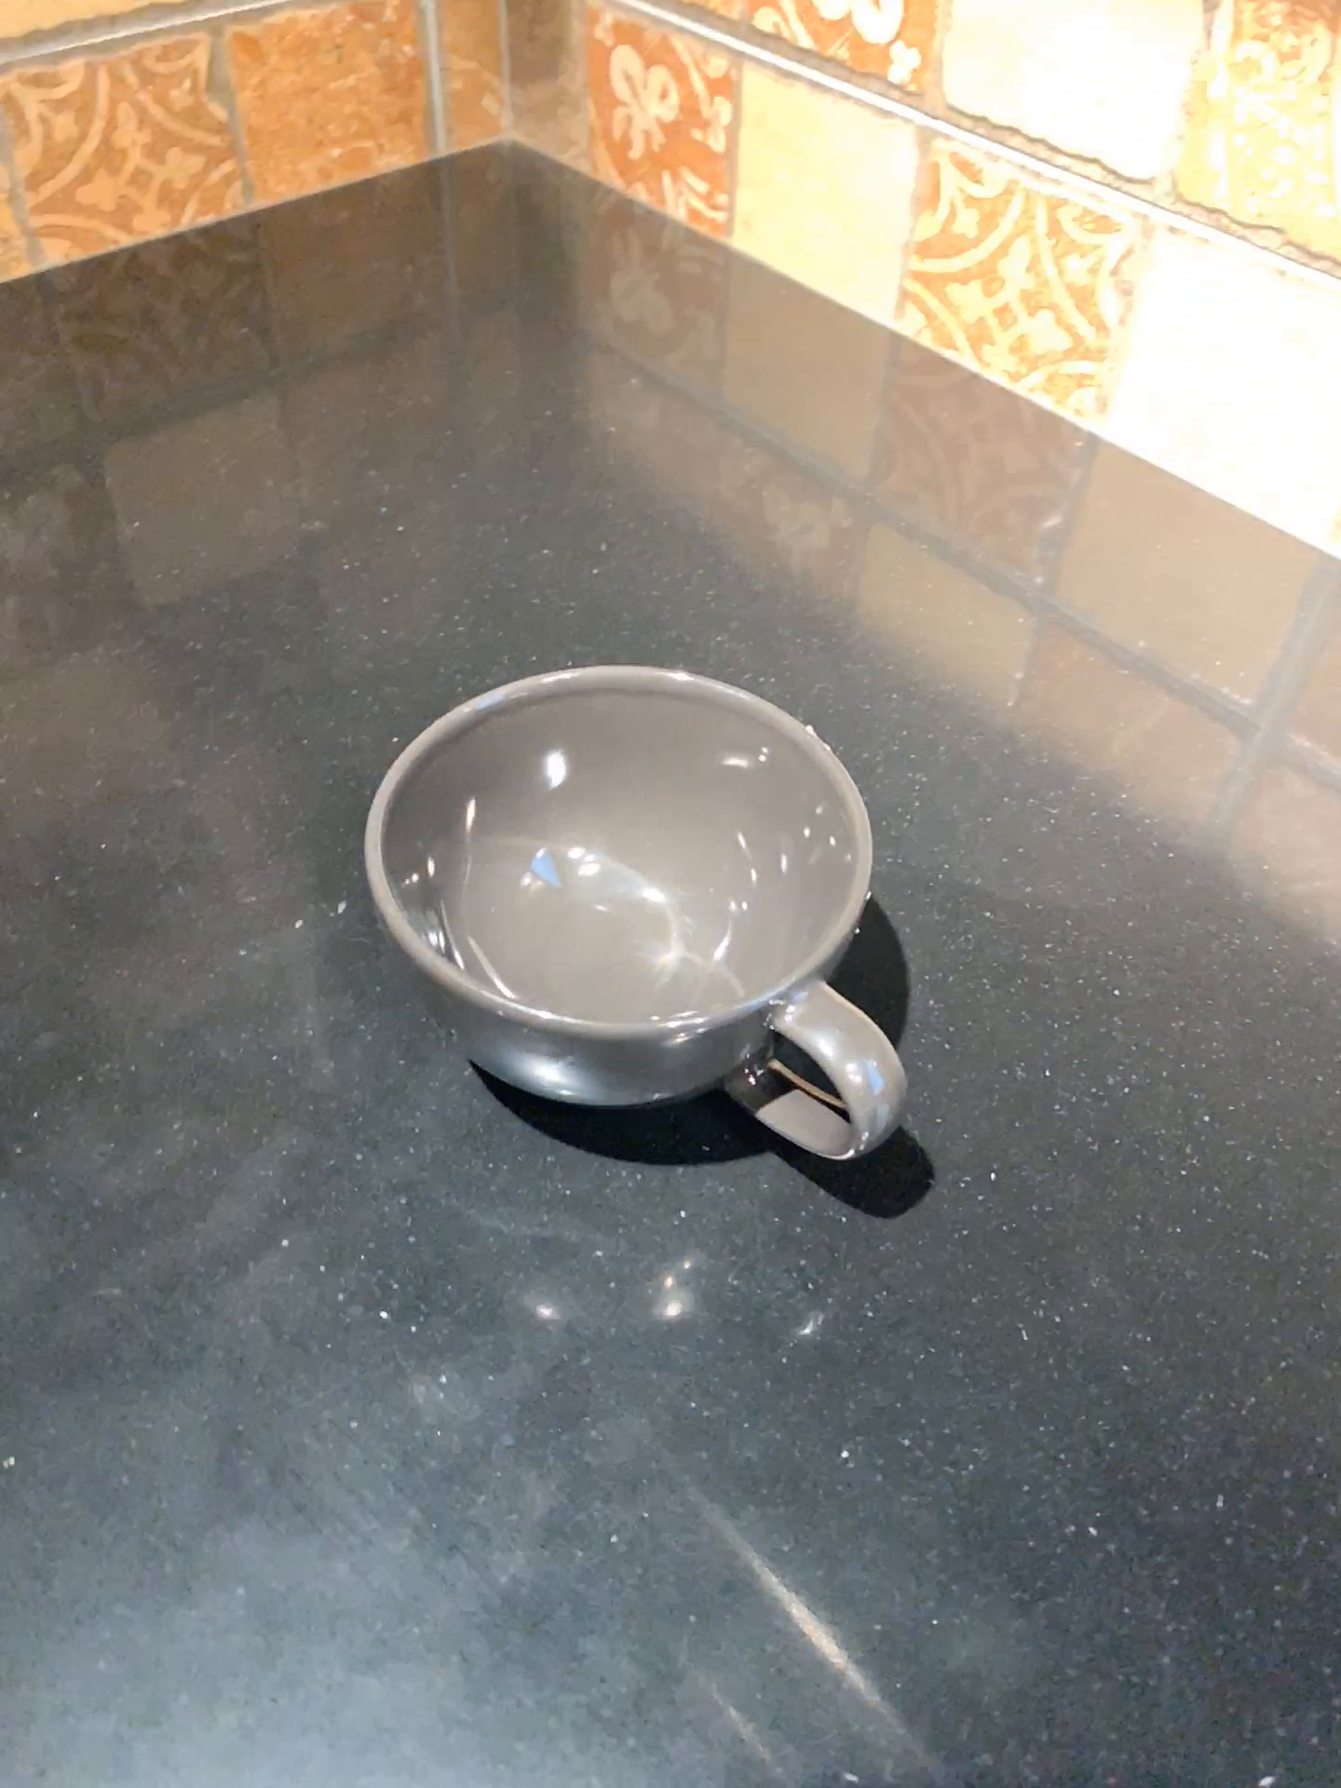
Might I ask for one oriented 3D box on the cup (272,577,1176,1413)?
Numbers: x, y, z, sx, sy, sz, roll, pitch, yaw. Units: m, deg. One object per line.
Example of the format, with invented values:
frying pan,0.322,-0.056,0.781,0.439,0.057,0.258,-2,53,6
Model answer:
cup,0.008,0.010,0.293,0.110,0.060,0.140,-36,58,-29
